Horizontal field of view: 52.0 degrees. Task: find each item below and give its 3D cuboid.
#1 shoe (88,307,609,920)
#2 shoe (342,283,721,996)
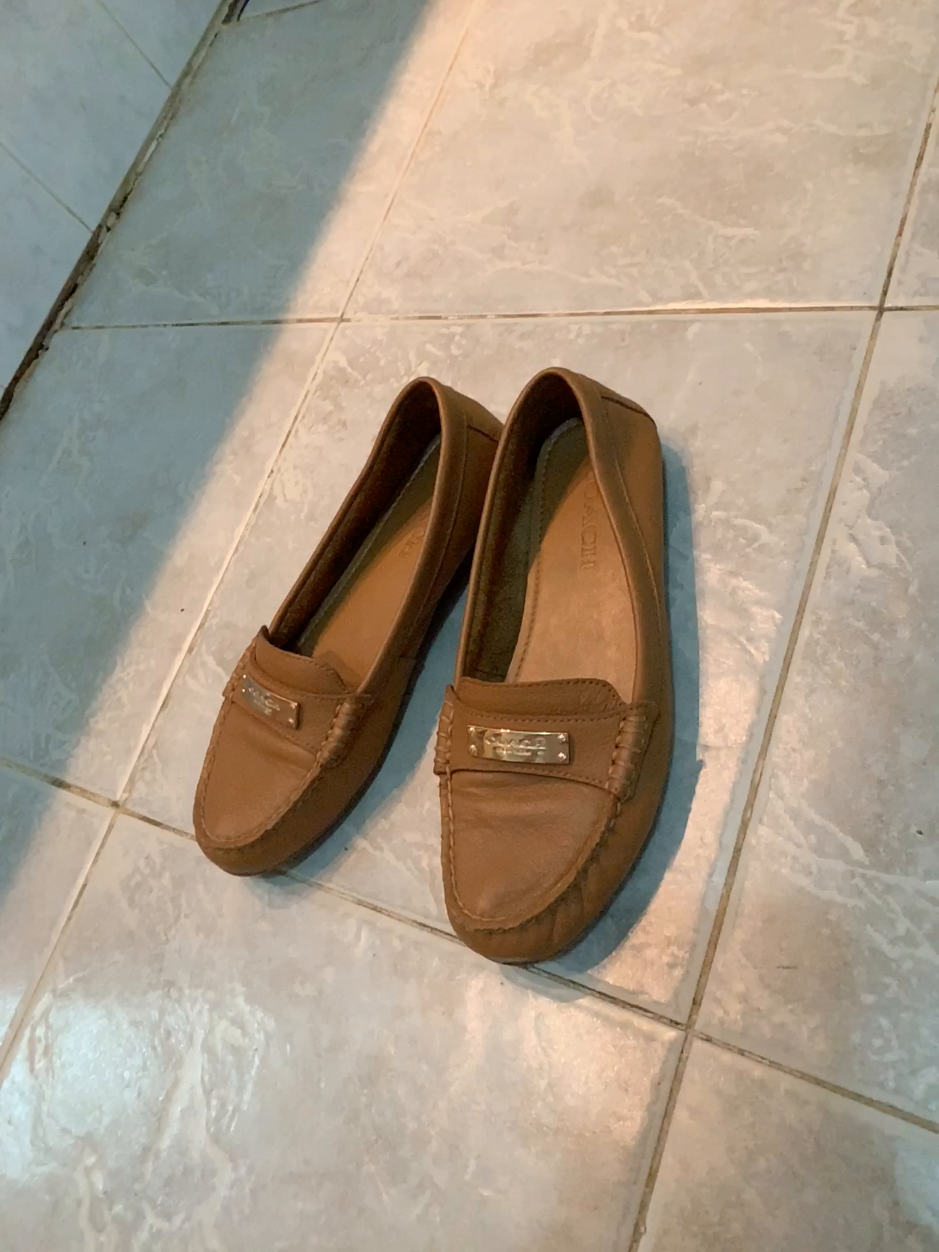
[{"bbox_3d":[-0.047,-0.009,0.413,0.083,0.071,0.243,26,81,36],"label":"shoe"},{"bbox_3d":[0.033,0.000,0.359,0.085,0.071,0.243,-2,66,29],"label":"shoe"}]
